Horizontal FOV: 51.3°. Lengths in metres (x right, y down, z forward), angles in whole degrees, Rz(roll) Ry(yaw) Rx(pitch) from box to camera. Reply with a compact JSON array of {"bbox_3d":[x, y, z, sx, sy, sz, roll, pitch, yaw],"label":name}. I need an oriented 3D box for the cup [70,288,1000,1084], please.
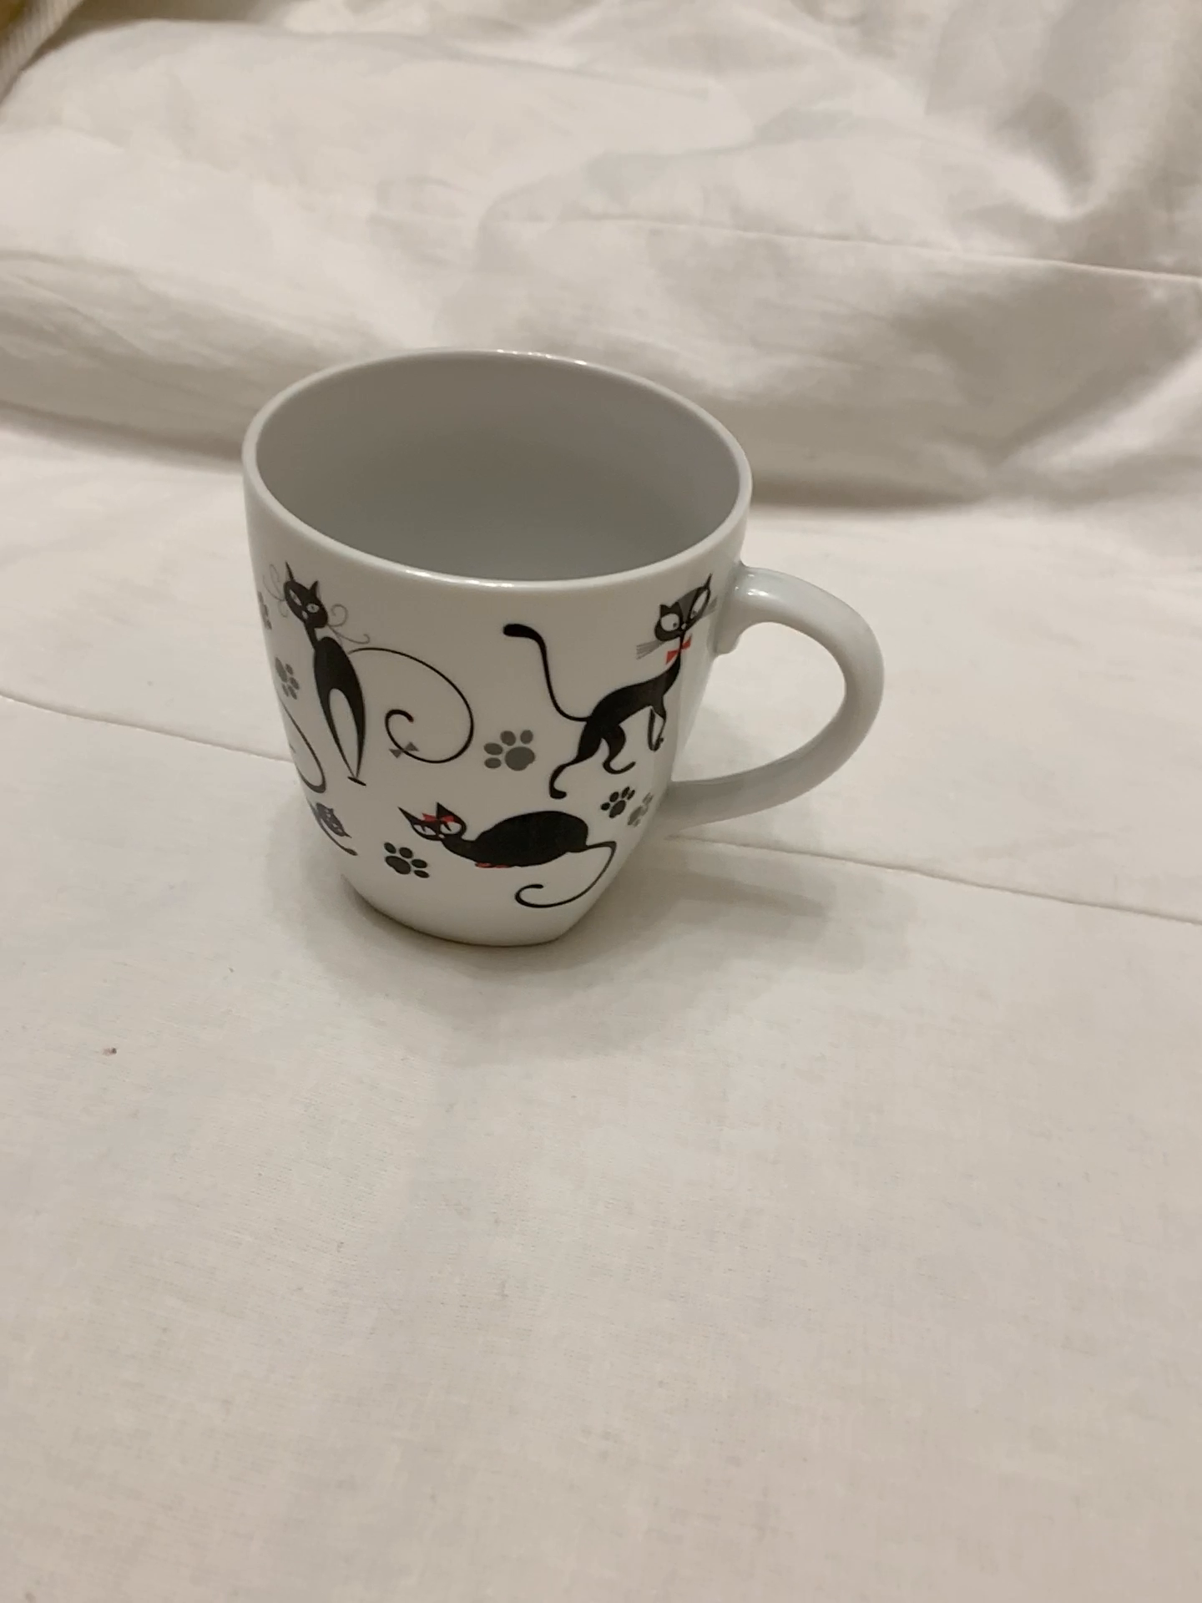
[{"bbox_3d":[-0.007,-0.025,0.216,0.119,0.077,0.081,17,44,15],"label":"cup"}]
